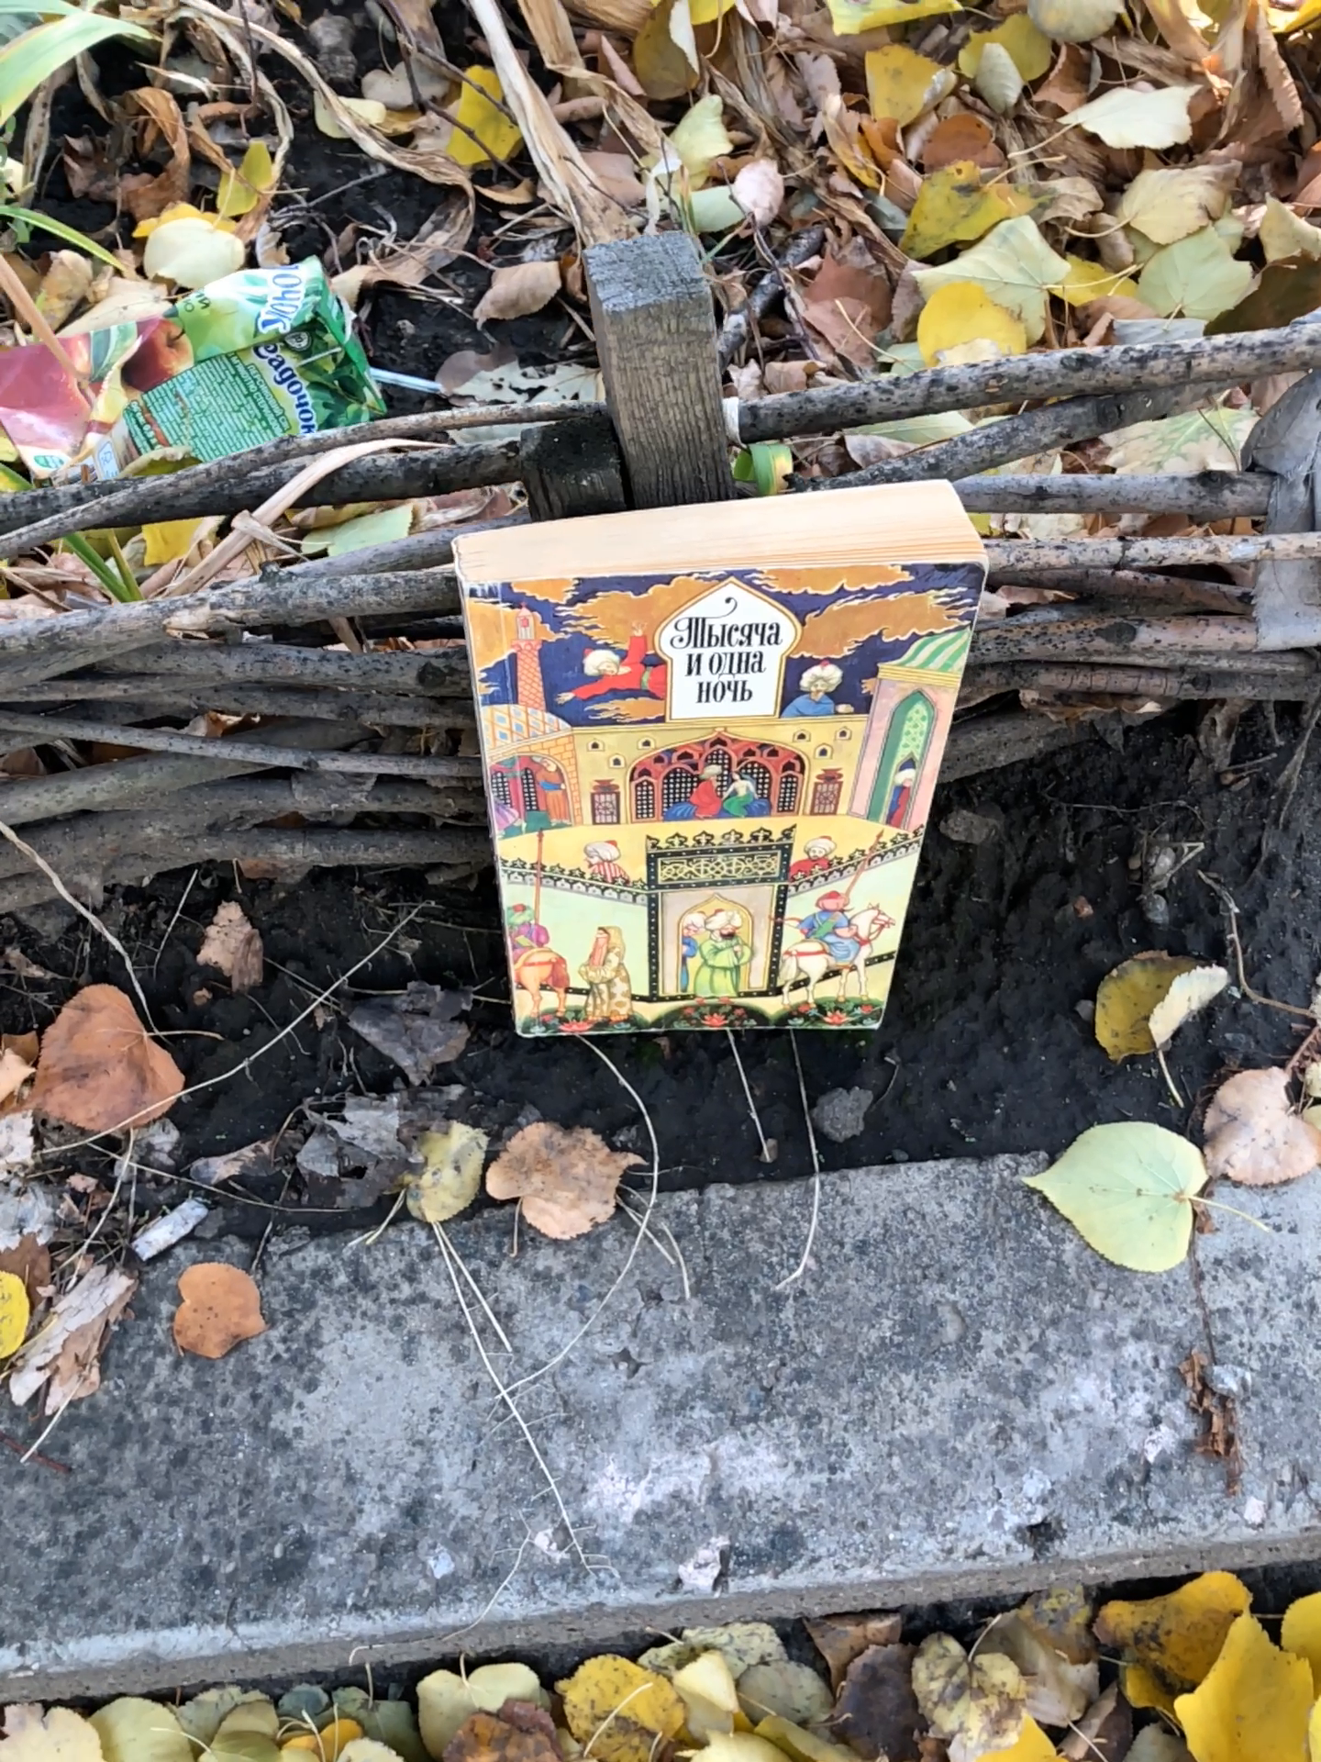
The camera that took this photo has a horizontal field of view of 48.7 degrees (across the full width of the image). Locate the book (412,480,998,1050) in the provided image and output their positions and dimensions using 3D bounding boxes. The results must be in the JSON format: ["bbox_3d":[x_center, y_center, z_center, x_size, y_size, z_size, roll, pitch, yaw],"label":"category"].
[{"bbox_3d":[0.012,-0.018,0.384,0.122,0.182,0.029,-1,51,1],"label":"book"}]
